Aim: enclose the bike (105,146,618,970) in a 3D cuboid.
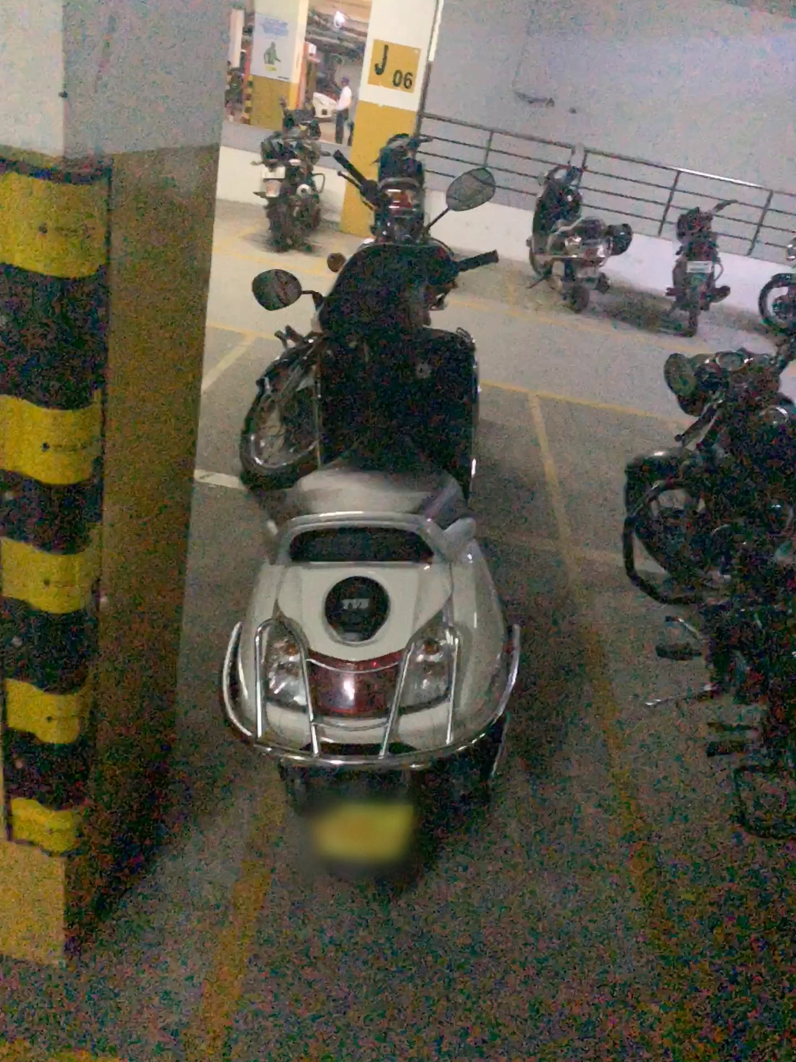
[{"bbox_3d":[-0.104,-0.126,1.965,0.647,1.159,1.539,10,30,-3],"label":"bike"}]
